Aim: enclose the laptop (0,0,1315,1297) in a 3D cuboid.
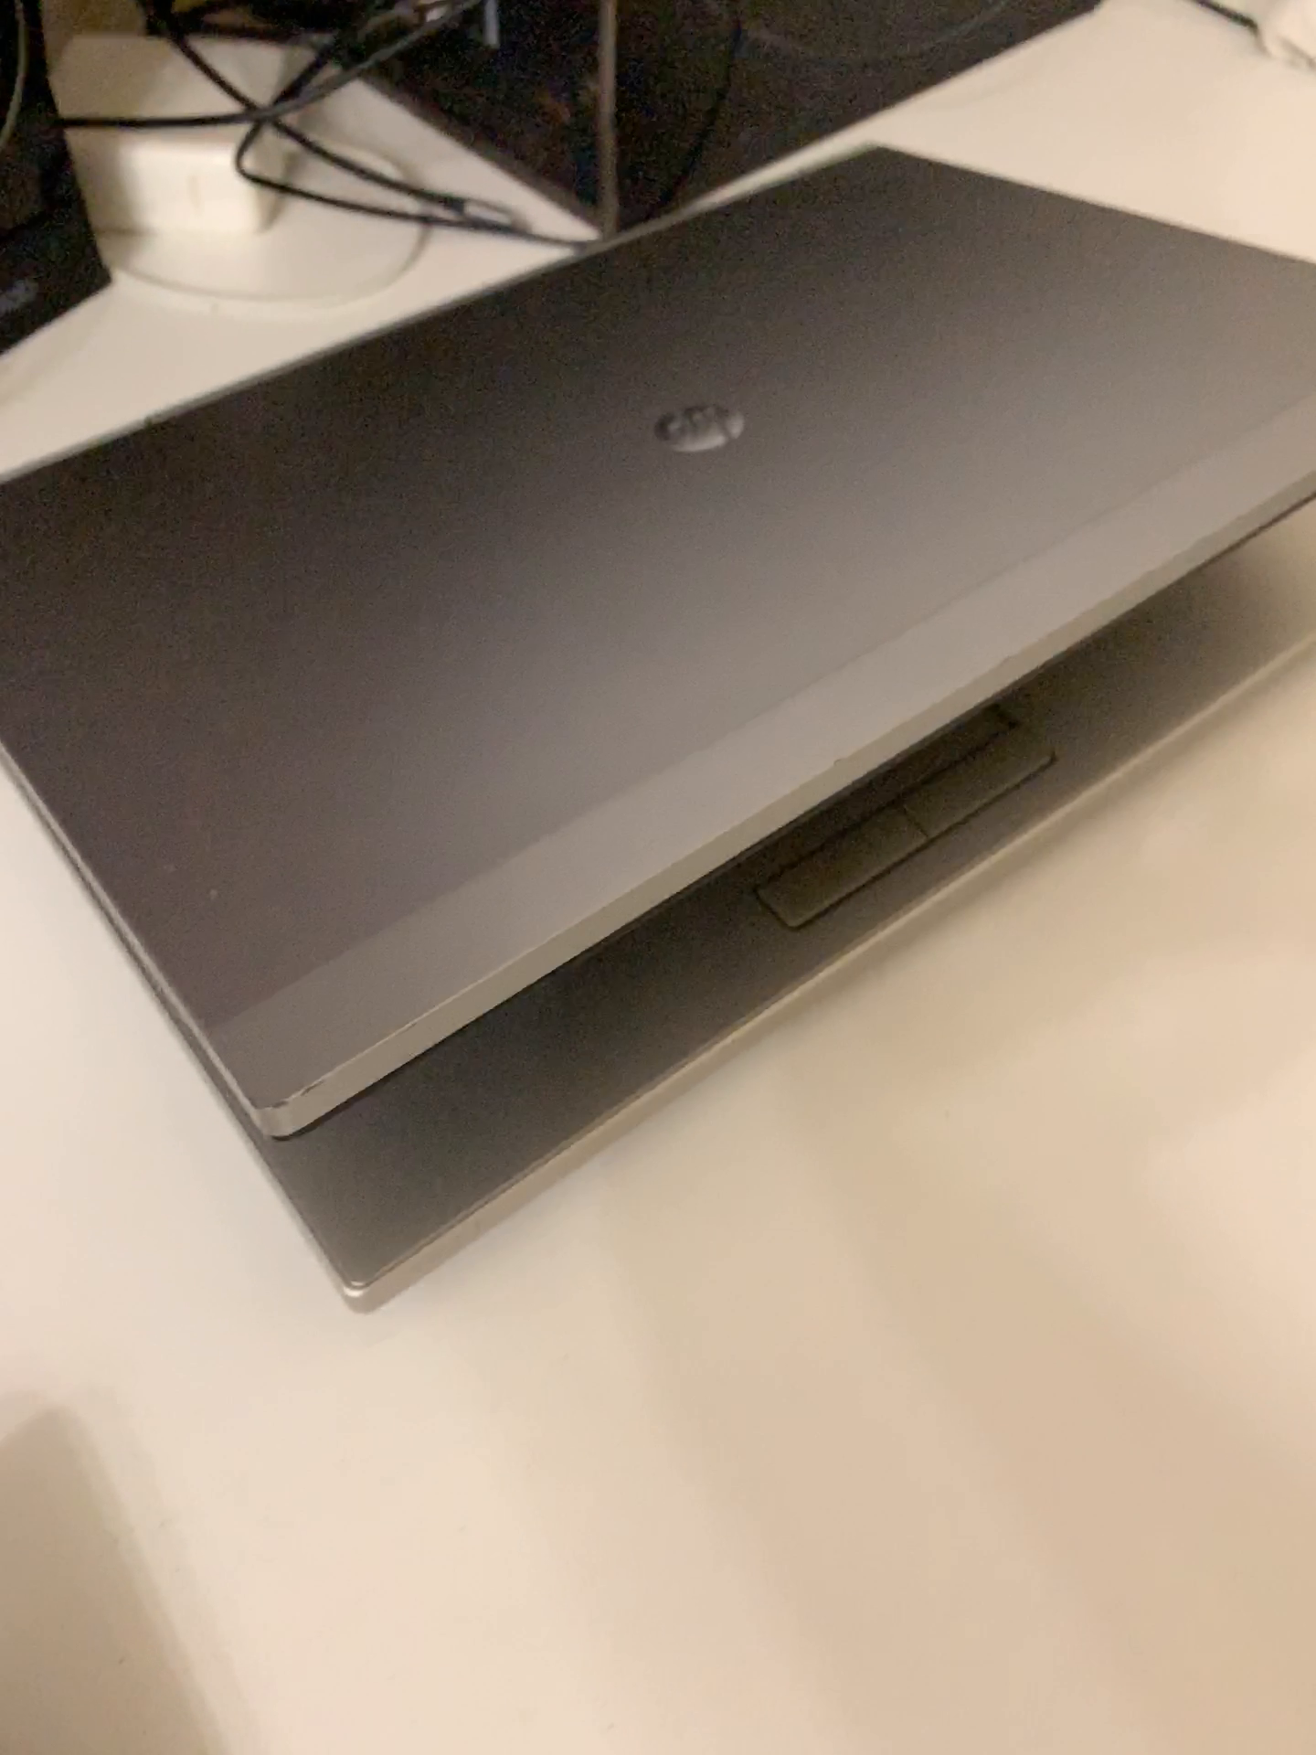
[{"bbox_3d":[0.009,-0.089,0.304,0.304,0.042,0.200,-32,66,-23],"label":"laptop"}]
